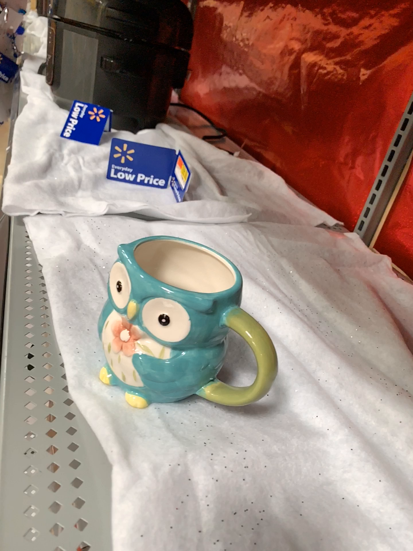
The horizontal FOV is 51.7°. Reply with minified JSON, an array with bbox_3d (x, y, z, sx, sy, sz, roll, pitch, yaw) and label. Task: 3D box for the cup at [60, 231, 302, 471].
[{"bbox_3d":[-0.022,0.042,0.317,0.127,0.087,0.108,31,33,27],"label":"cup"}]
